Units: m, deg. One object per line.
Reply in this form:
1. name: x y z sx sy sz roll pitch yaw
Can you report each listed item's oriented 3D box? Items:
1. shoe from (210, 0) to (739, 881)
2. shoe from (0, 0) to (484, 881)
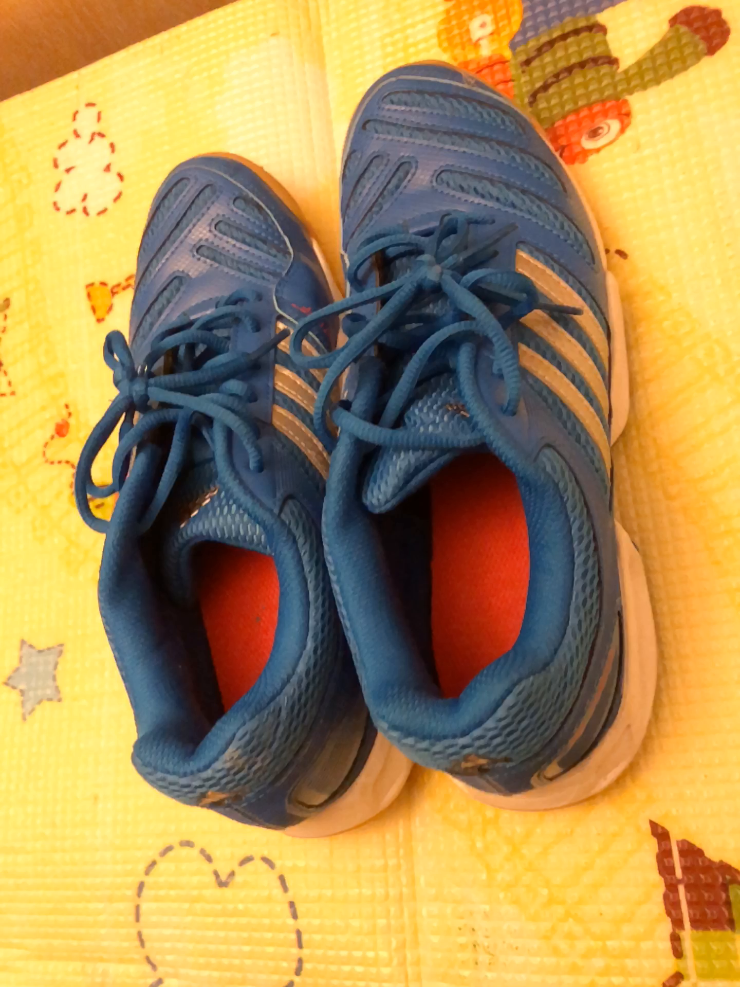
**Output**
1. shoe: 0.036 -0.041 0.281 0.110 0.120 0.290 -13 73 20
2. shoe: -0.052 -0.027 0.316 0.110 0.139 0.290 -14 73 20
